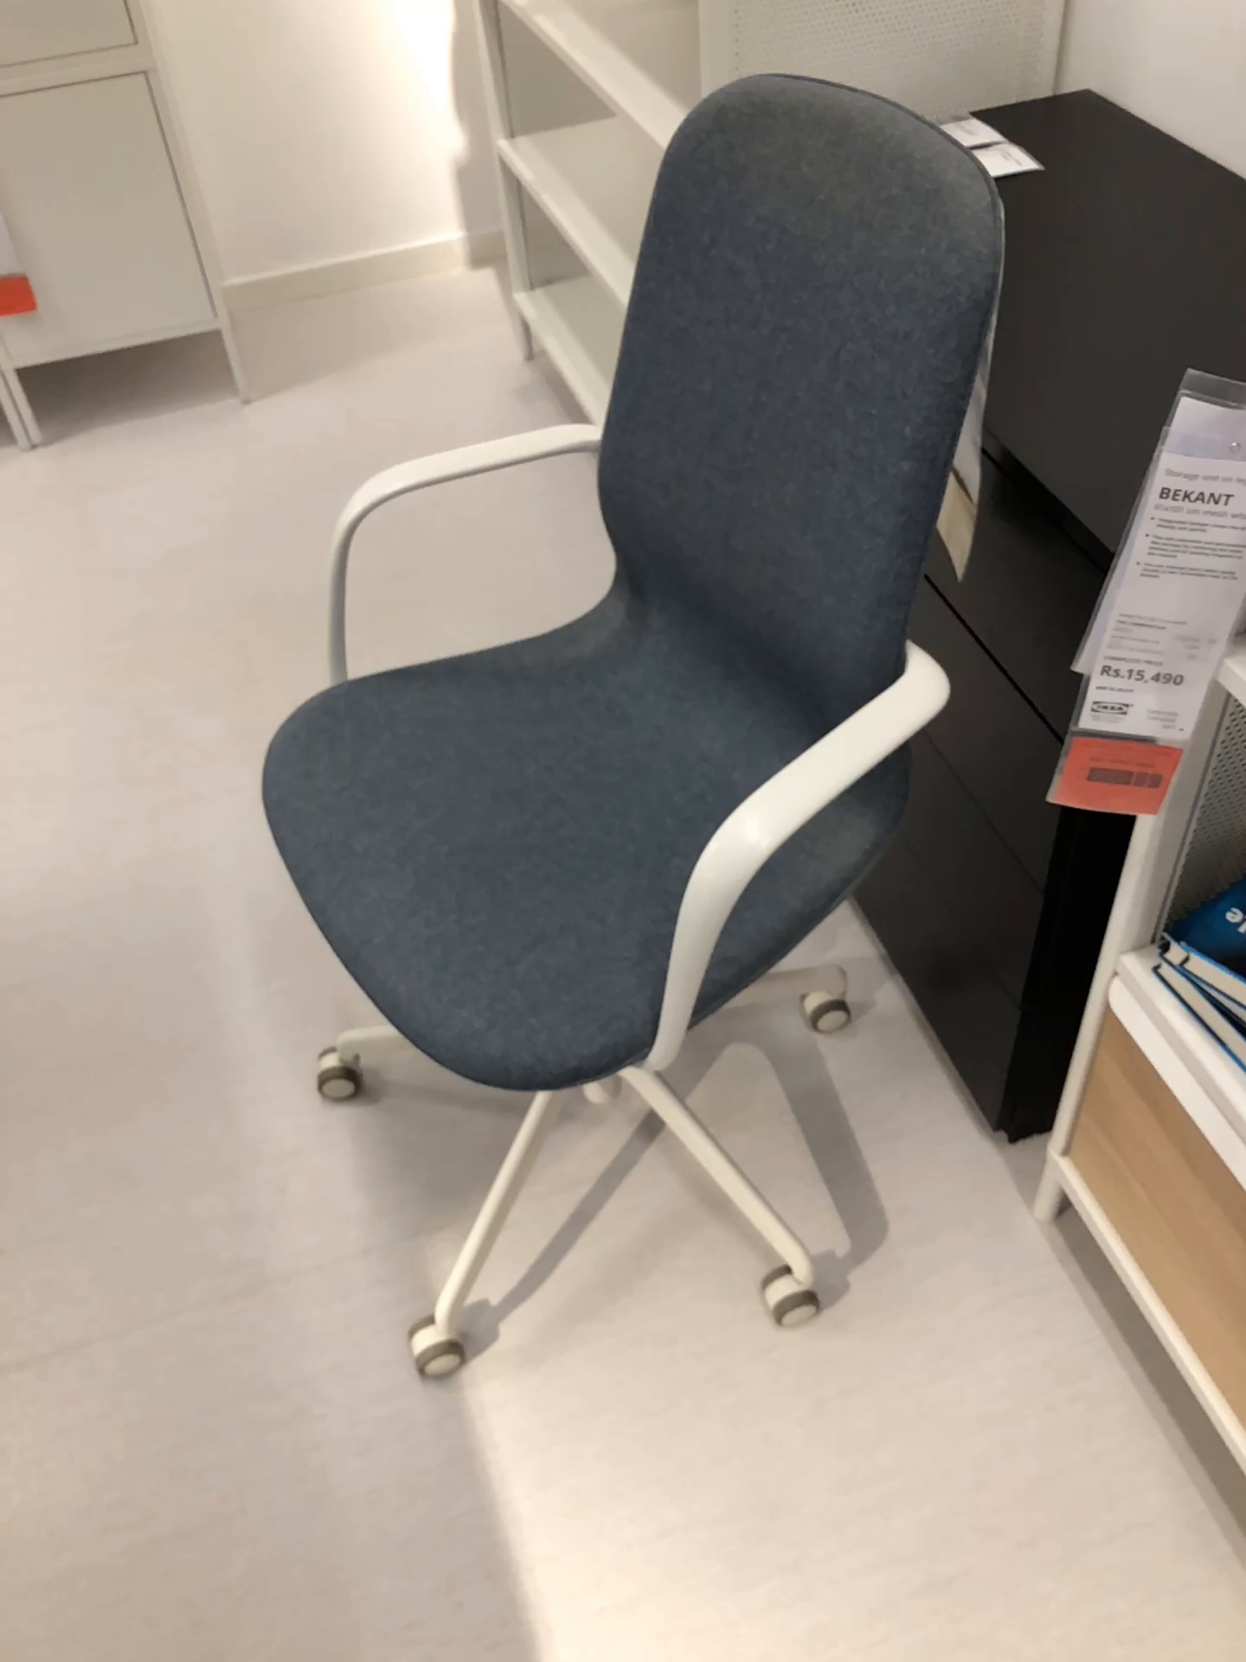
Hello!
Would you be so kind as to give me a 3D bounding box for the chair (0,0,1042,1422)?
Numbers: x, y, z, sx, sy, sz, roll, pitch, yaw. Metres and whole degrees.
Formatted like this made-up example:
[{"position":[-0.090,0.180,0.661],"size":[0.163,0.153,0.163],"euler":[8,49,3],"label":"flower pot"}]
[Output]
[{"position":[-0.095,-0.055,1.212],"size":[0.700,0.994,0.704],"euler":[1,47,8],"label":"chair"}]
